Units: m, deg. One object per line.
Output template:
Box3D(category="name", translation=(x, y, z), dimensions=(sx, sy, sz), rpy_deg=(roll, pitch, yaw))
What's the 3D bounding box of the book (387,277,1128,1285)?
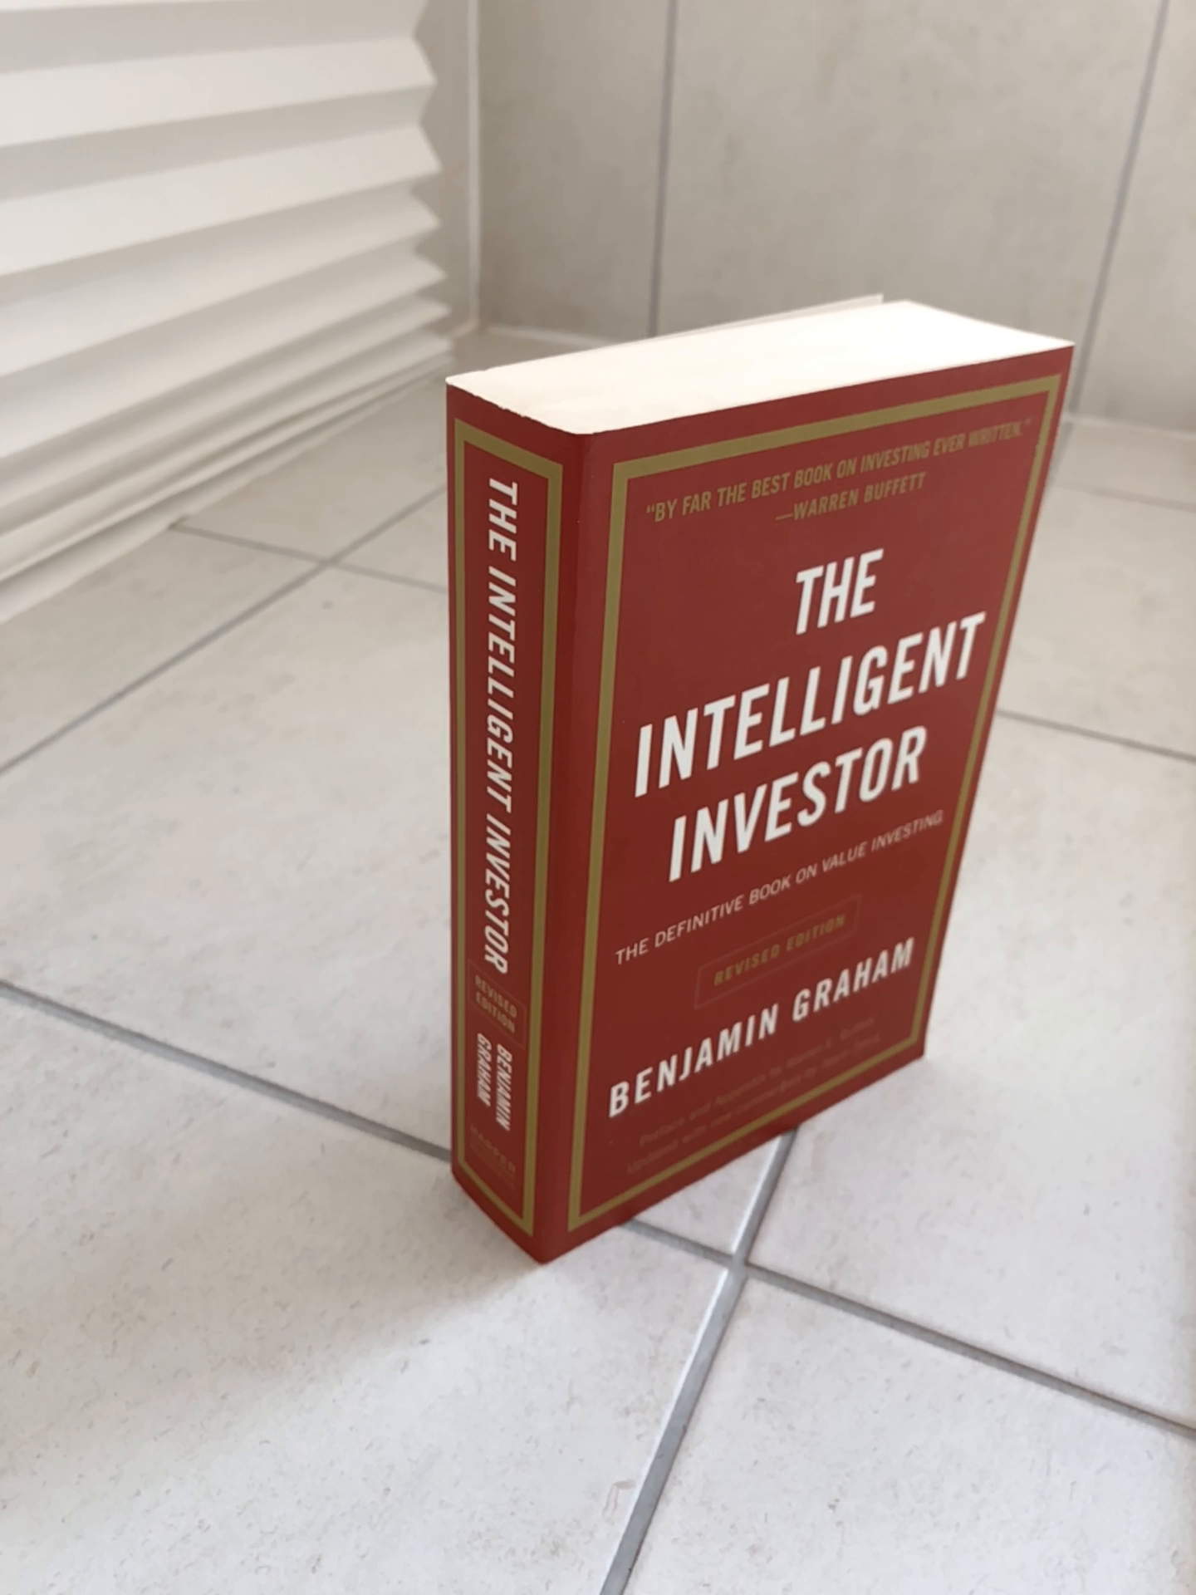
Box3D(category="book", translation=(0.033, -0.005, 0.324), dimensions=(0.149, 0.206, 0.057), rpy_deg=(-20, 39, -31))
